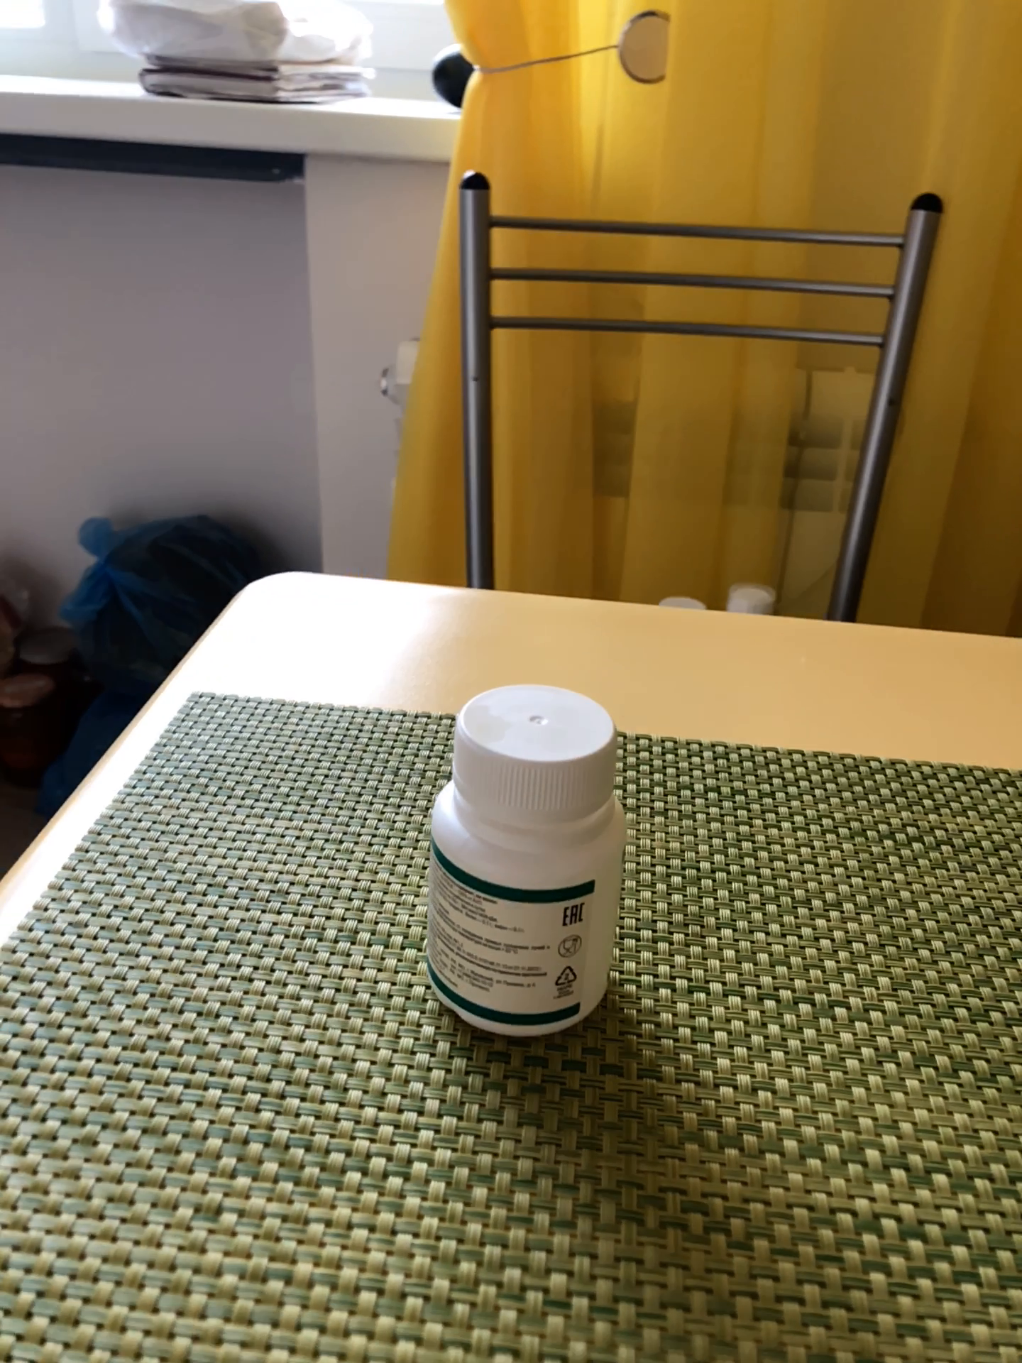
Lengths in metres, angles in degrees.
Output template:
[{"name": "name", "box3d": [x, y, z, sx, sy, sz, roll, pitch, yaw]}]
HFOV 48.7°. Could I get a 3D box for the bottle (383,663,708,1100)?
[{"name": "bottle", "box3d": [0.006, 0.043, 0.260, 0.050, 0.070, 0.050, 2, 28, -1]}]
